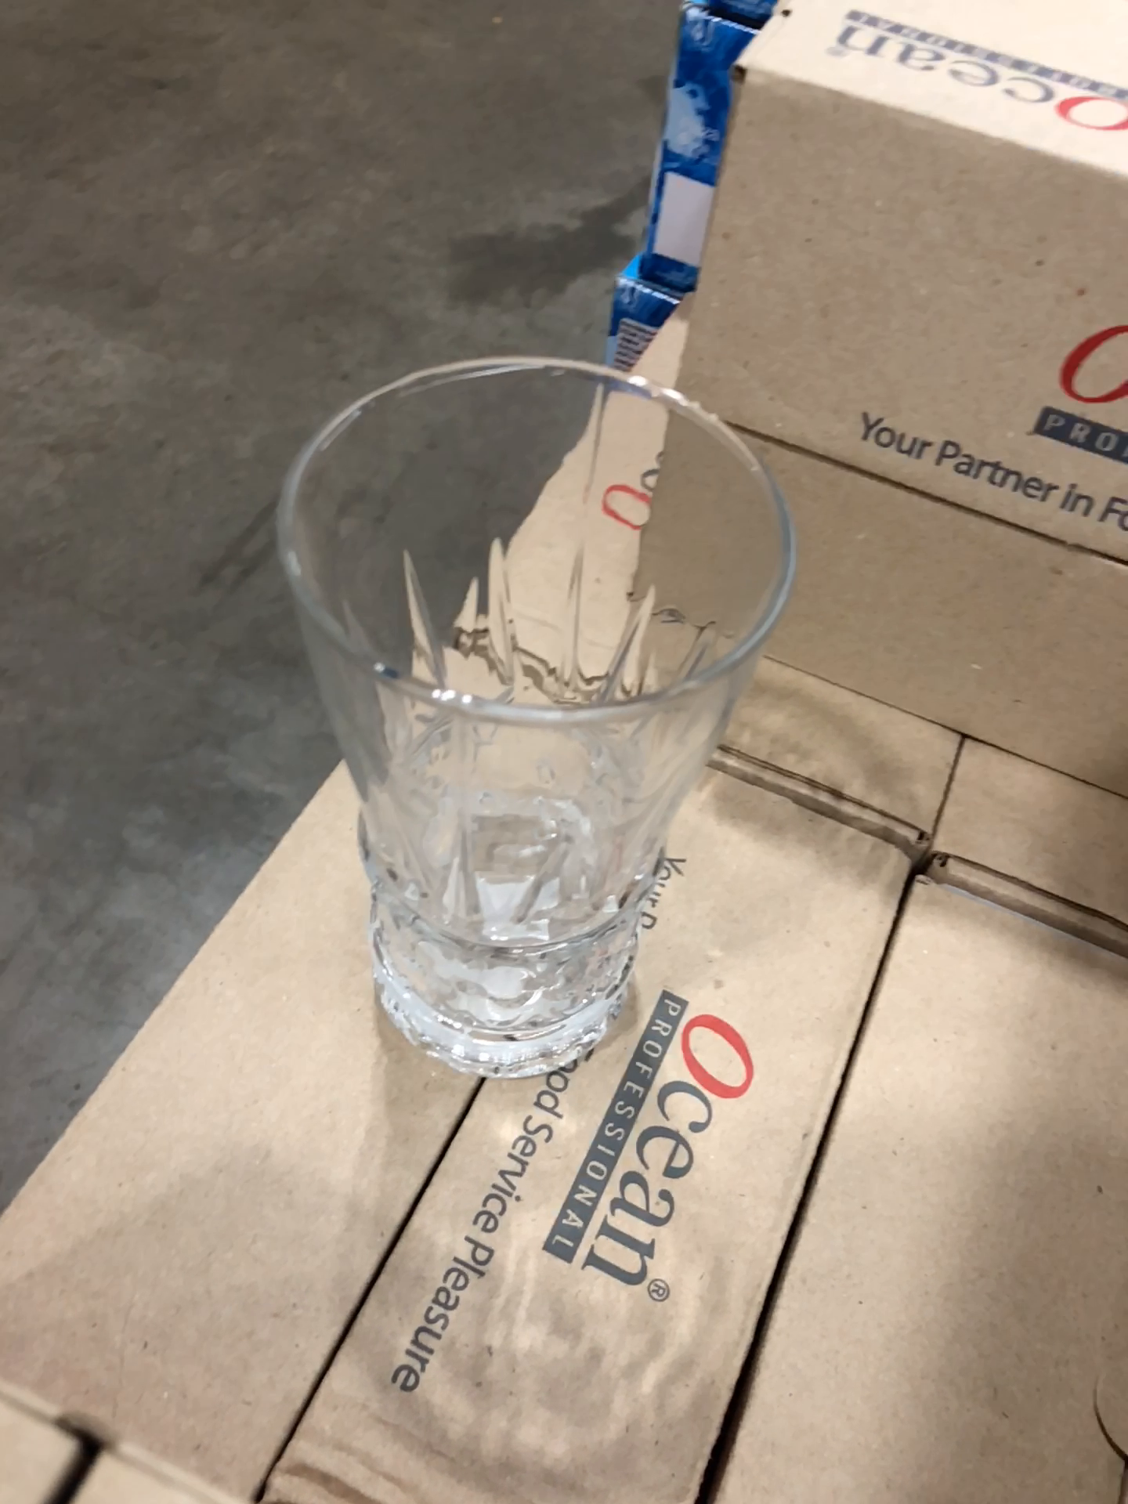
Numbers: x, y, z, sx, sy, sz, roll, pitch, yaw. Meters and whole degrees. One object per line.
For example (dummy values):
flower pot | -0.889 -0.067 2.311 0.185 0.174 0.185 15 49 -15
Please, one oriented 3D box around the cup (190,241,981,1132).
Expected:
cup | -0.010 -0.009 0.239 0.100 0.130 0.100 4 52 -5
